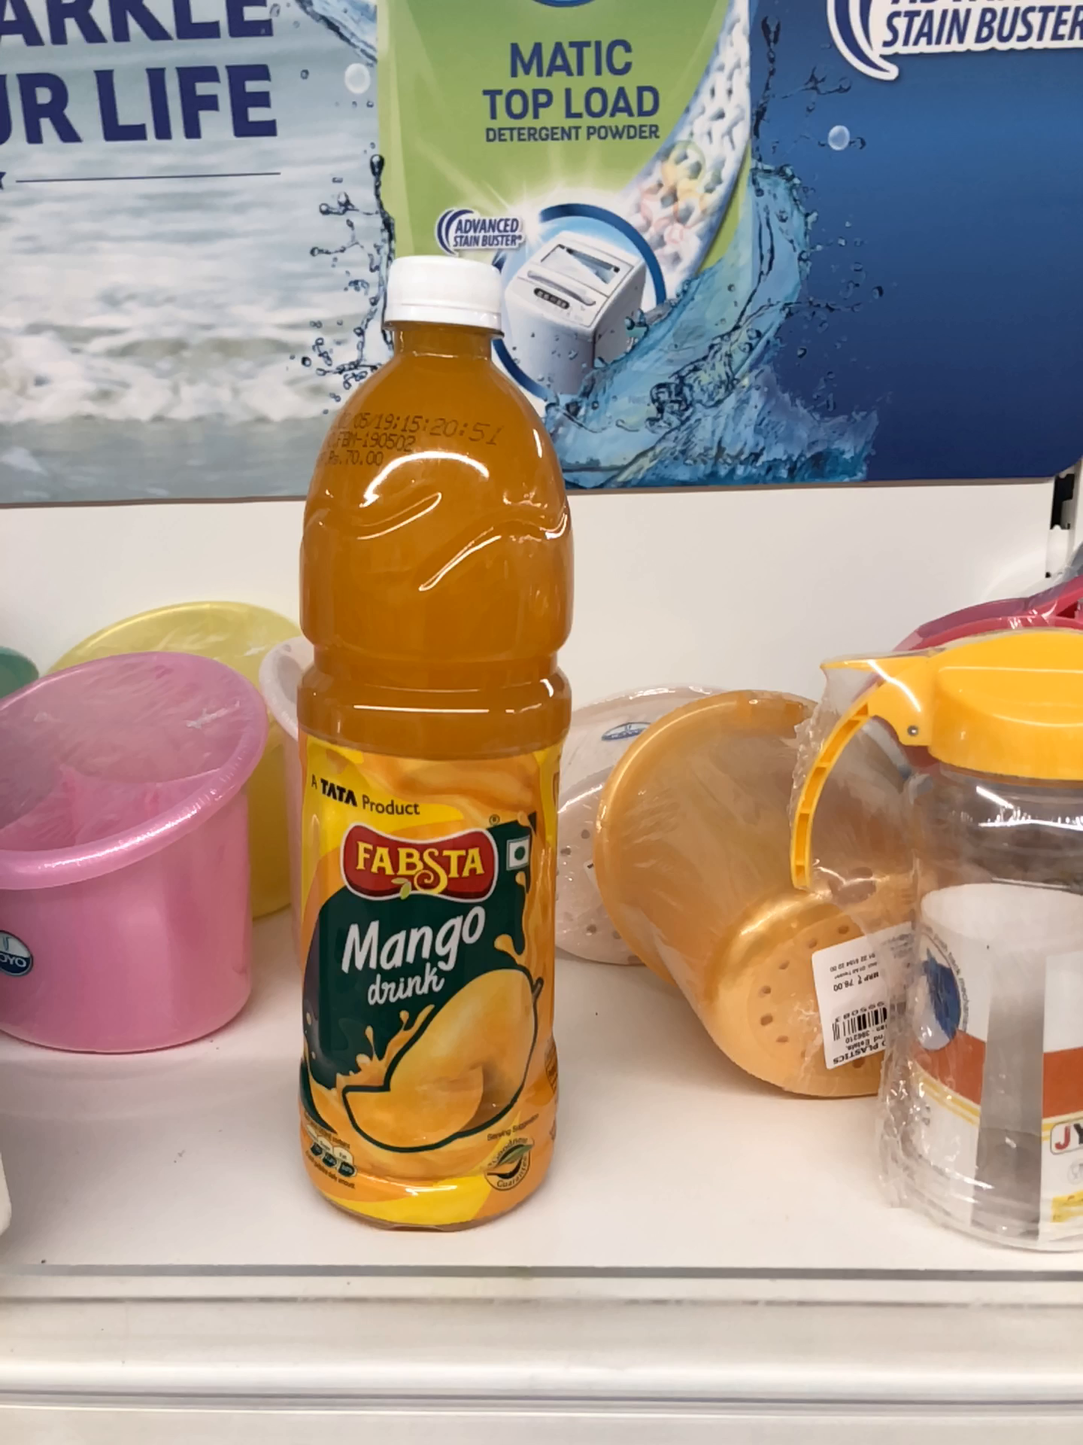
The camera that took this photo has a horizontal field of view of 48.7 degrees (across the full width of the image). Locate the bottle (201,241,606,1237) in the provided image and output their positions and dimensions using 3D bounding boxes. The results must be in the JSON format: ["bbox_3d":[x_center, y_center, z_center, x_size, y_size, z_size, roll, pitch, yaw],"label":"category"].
[{"bbox_3d":[-0.031,0.006,0.343,0.090,0.259,0.080,-2,14,-2],"label":"bottle"}]
